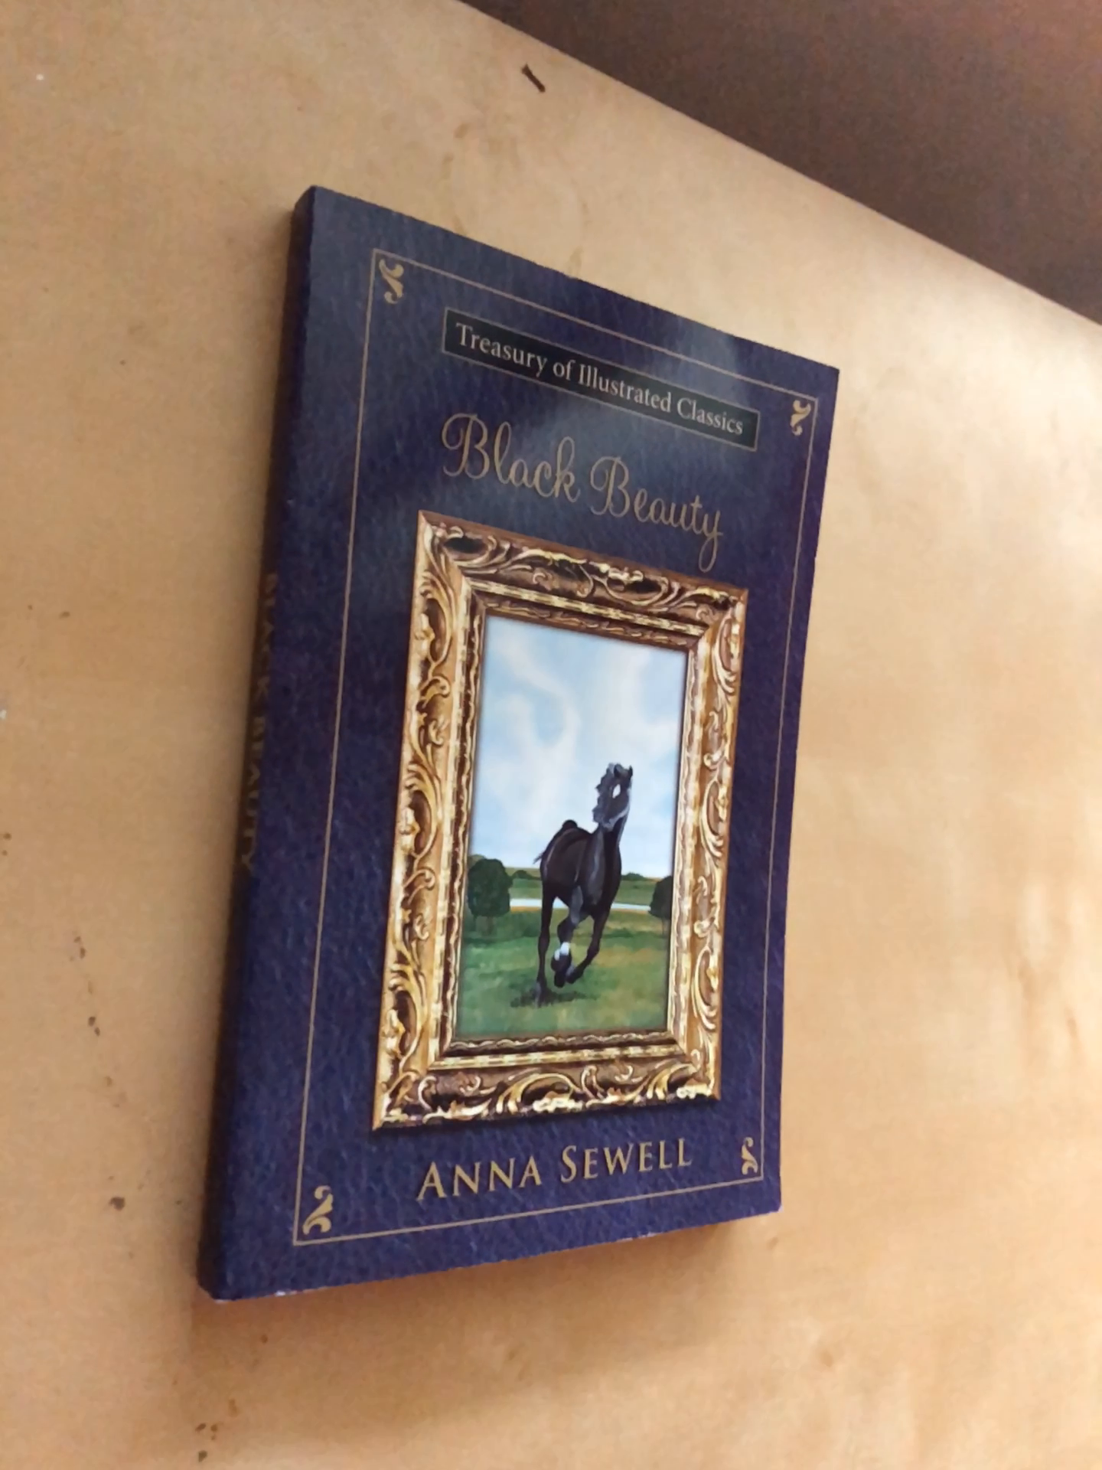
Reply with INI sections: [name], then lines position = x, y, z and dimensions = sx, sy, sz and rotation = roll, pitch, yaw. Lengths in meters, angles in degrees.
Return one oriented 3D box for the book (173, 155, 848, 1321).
[book]
position = 0.001, 0.004, 0.245
dimensions = 0.126, 0.025, 0.193
rotation = 8, 84, -33
